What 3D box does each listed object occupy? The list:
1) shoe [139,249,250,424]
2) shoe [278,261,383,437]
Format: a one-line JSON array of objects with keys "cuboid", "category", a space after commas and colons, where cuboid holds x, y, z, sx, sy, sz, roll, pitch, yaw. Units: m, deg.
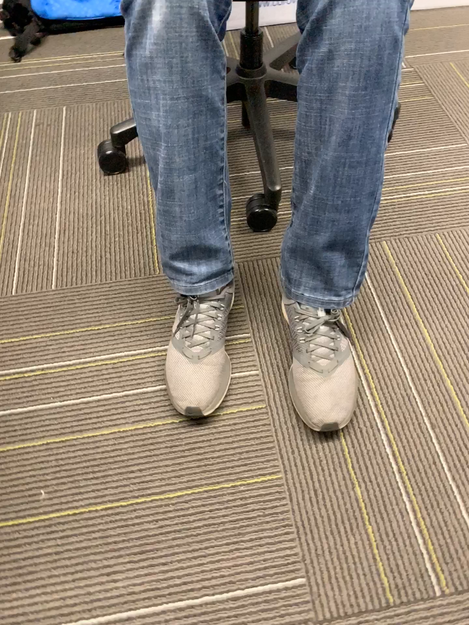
[{"cuboid": [-0.055, 0.030, 0.801, 0.132, 0.078, 0.284, 5, 56, 5], "category": "shoe"}, {"cuboid": [0.146, 0.052, 0.792, 0.124, 0.078, 0.287, -2, 55, 1], "category": "shoe"}]
